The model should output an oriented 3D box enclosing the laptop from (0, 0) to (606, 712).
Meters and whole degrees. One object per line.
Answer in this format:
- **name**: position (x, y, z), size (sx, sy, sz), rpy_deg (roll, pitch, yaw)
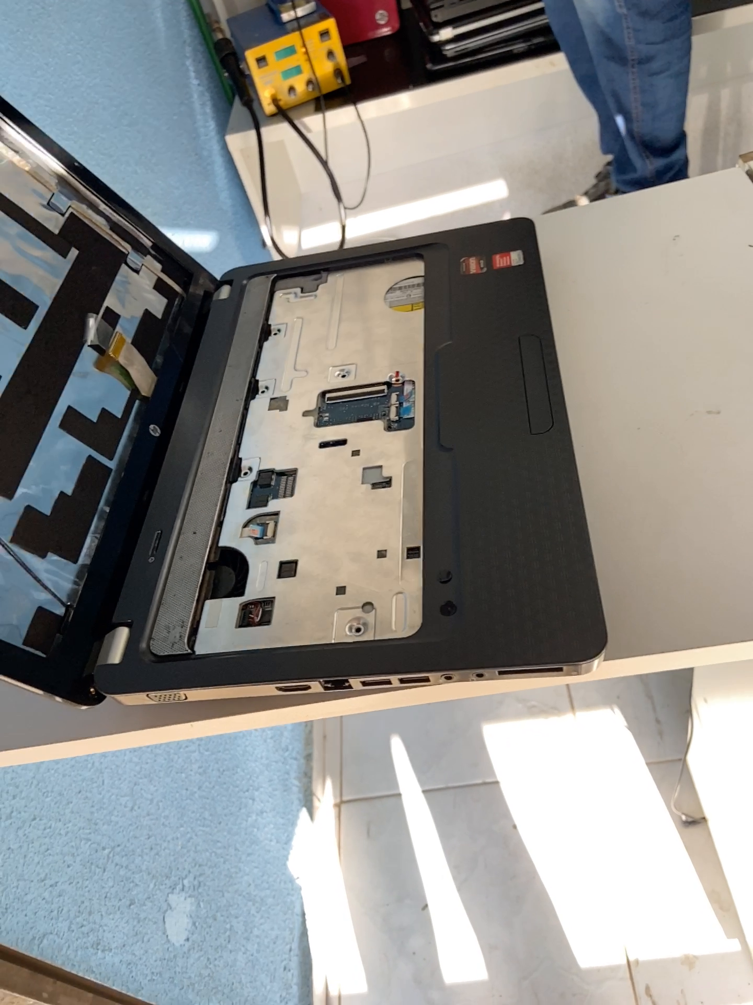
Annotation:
- **laptop**: position (-0.093, -0.104, 0.388), size (0.349, 0.179, 0.340), rpy_deg (-7, 48, 11)
